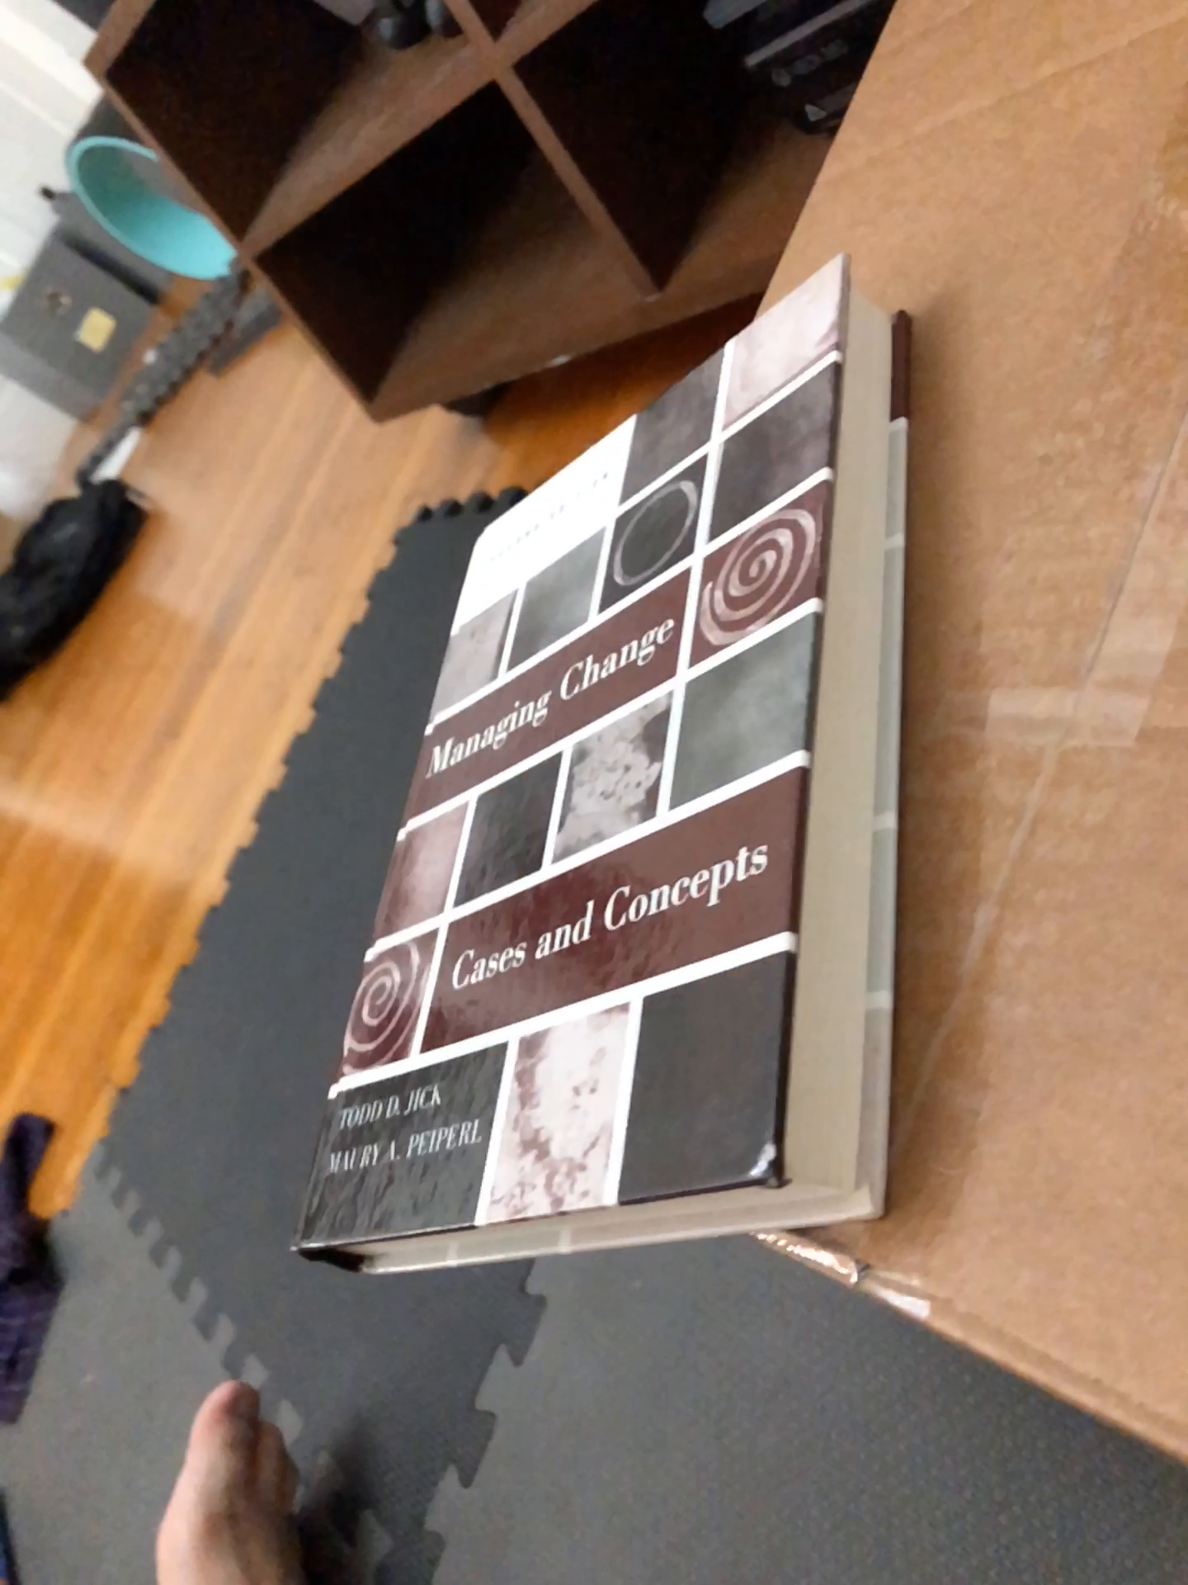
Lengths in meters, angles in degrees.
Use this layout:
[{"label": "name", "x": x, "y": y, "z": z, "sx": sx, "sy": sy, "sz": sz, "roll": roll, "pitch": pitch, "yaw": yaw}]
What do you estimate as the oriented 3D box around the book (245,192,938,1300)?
[{"label": "book", "x": 0.002, "y": -0.010, "z": 0.335, "sx": 0.181, "sy": 0.030, "sz": 0.251, "roll": -25, "pitch": 45, "yaw": 43}]
